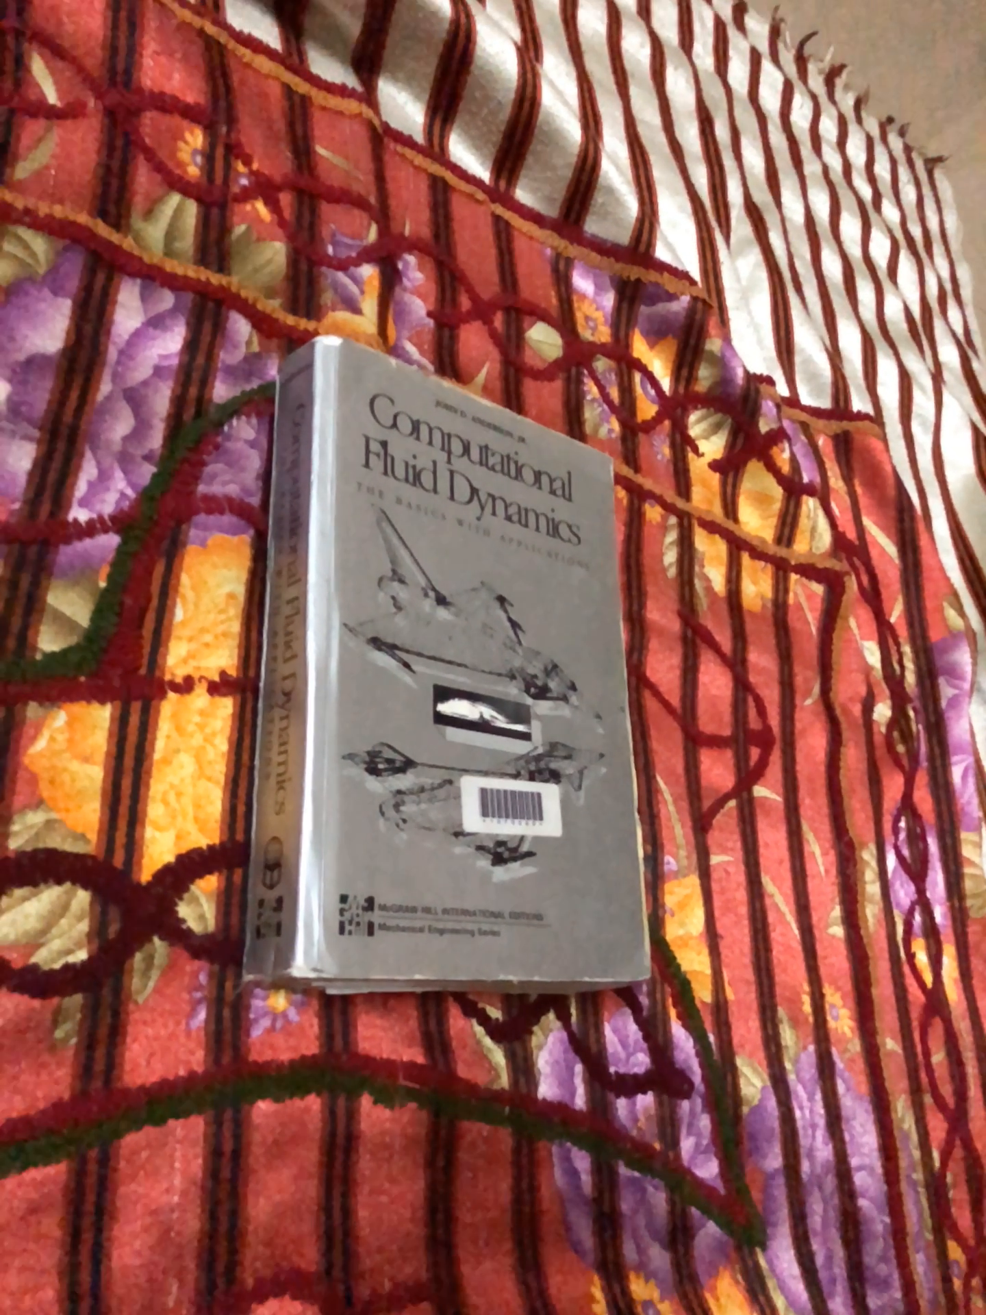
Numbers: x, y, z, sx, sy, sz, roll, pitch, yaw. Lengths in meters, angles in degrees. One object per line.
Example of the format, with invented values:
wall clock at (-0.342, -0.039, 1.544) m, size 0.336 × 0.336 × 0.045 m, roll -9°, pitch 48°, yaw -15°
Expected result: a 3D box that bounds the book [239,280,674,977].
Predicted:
book at (-0.009, -0.001, 0.446) m, size 0.161 × 0.060 × 0.250 m, roll 14°, pitch 68°, yaw -38°
